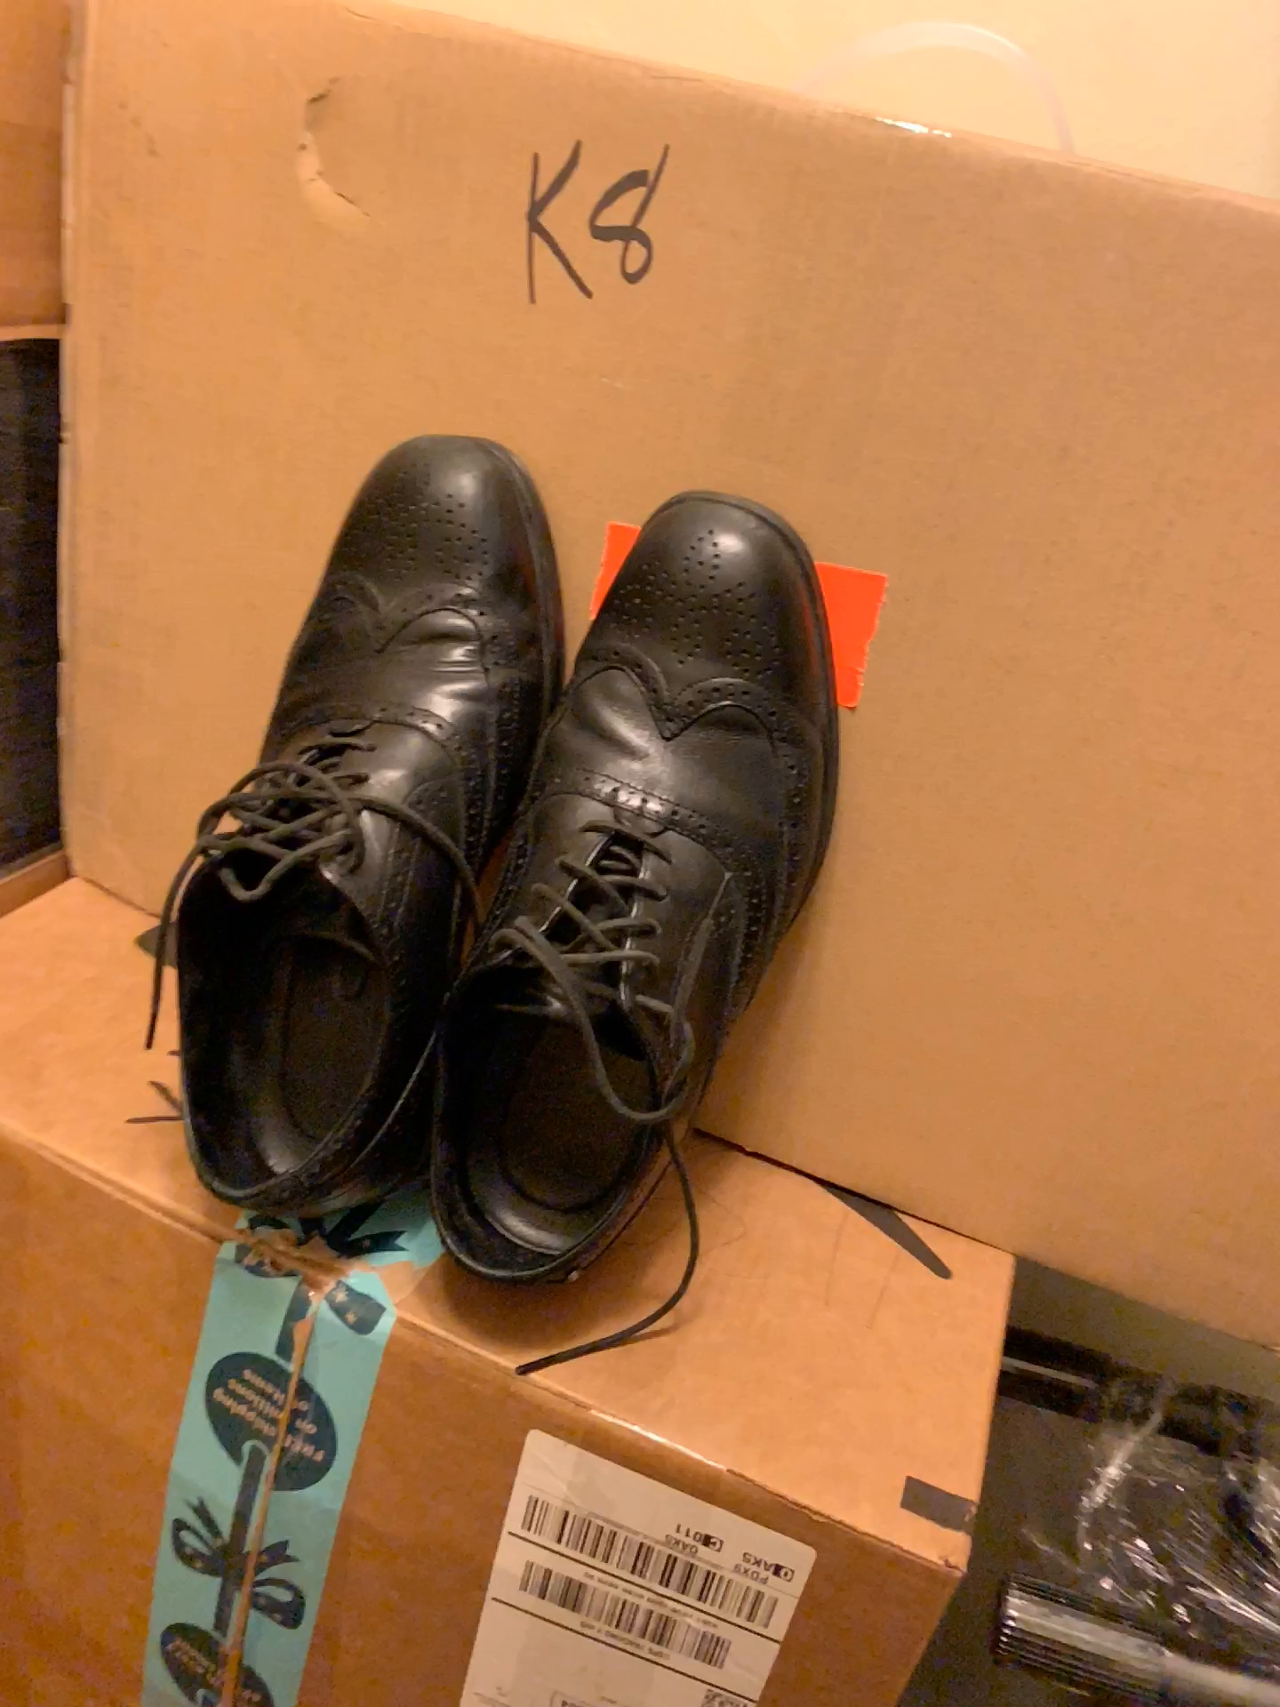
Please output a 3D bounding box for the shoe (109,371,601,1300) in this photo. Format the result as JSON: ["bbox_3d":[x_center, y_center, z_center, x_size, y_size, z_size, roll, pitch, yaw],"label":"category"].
[{"bbox_3d":[-0.097,-0.009,0.460,0.120,0.279,0.100,8,10,11],"label":"shoe"}]

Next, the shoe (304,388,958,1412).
[{"bbox_3d":[-0.001,0.013,0.431,0.120,0.279,0.100,19,13,10],"label":"shoe"}]
